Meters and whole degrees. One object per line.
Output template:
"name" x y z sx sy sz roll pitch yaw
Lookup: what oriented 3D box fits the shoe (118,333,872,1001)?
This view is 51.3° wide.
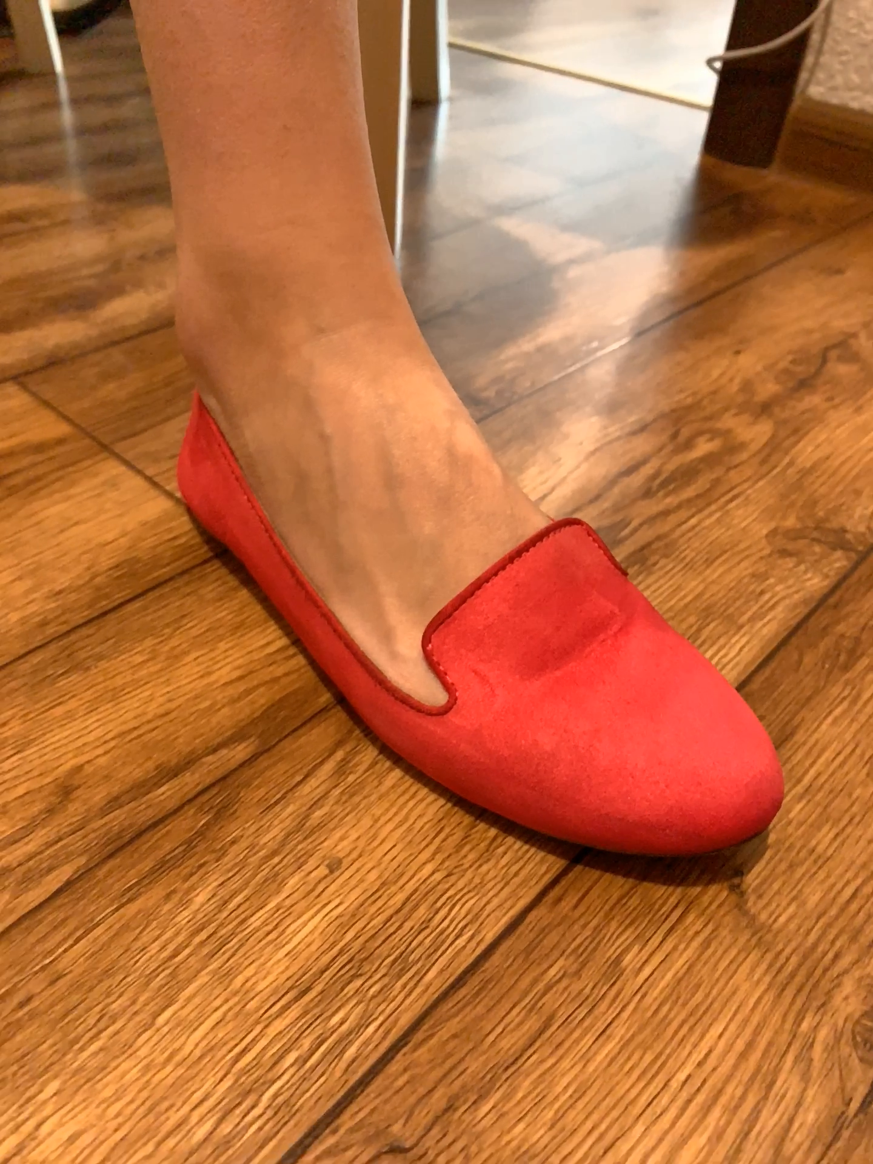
"shoe" 0.001 0.002 0.278 0.086 0.060 0.221 -29 50 -32
